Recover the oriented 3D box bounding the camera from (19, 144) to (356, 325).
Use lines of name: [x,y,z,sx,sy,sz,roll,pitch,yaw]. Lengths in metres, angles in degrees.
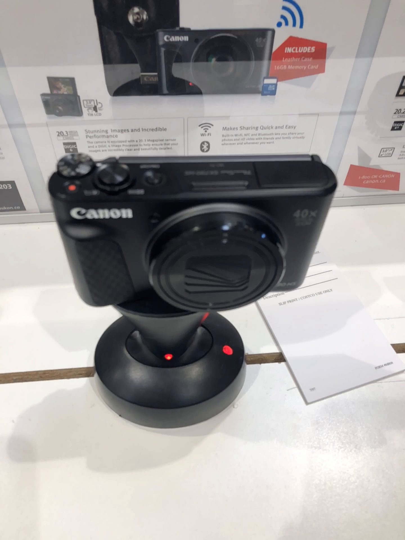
camera: [-0.006,-0.014,0.197,0.120,0.070,0.040,-2,51,-4]
